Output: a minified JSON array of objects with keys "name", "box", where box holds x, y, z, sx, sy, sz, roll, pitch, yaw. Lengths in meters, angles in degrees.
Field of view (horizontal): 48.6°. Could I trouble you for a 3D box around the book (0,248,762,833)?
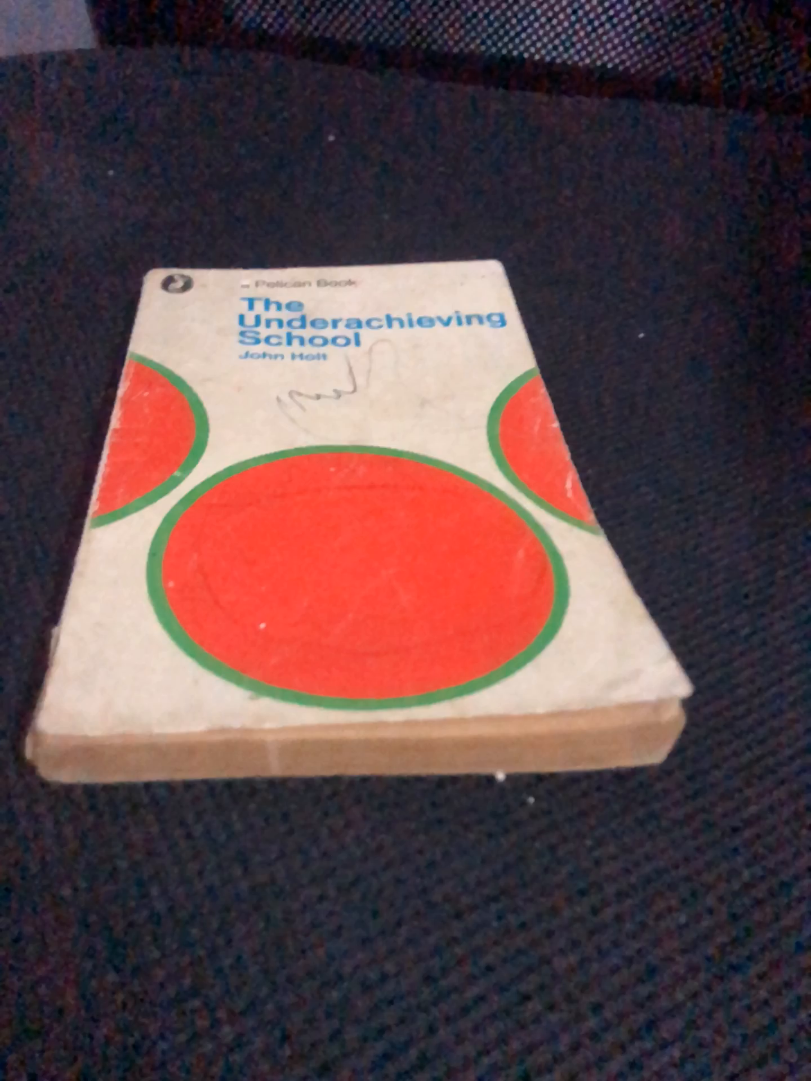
[{"name":"book","box":[-0.012,-0.022,0.214,0.120,0.020,0.182,-1,41,-7]}]
